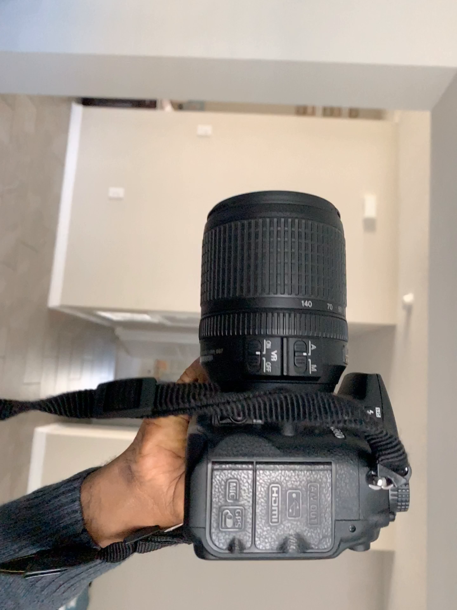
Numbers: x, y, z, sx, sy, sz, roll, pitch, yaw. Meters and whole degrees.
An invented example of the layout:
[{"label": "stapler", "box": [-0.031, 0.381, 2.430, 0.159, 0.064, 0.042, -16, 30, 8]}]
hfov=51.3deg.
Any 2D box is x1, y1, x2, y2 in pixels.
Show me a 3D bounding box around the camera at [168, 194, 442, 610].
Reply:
[{"label": "camera", "box": [0.028, 0.046, 0.282, 0.160, 0.114, 0.170, 129, -38, -82]}]
